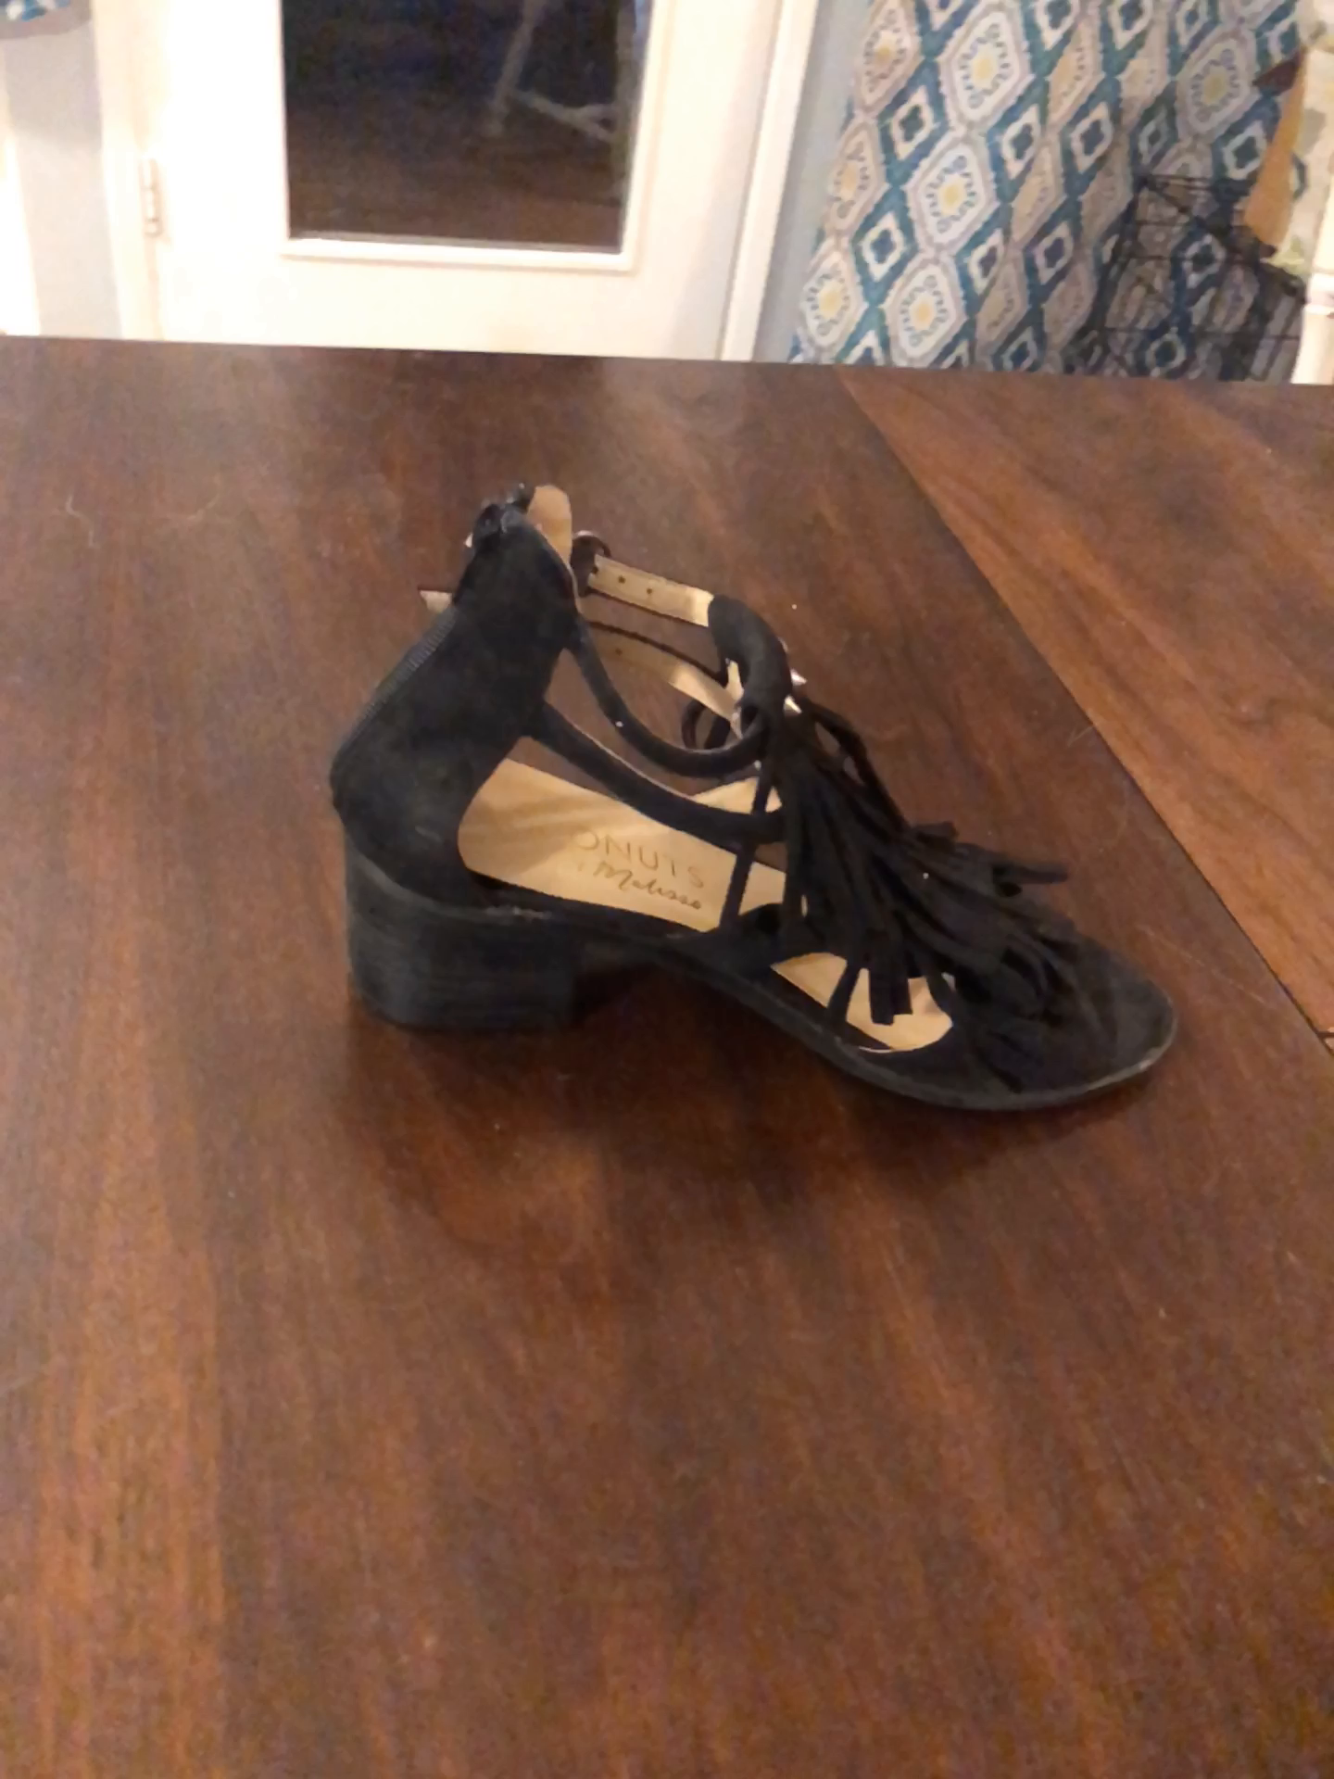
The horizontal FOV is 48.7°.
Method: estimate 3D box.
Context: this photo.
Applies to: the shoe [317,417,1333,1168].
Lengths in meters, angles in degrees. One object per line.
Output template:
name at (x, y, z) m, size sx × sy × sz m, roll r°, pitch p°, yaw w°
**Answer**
shoe at (0.035, -0.021, 0.406) m, size 0.240 × 0.149 × 0.100 m, roll 6°, pitch 42°, yaw -5°
